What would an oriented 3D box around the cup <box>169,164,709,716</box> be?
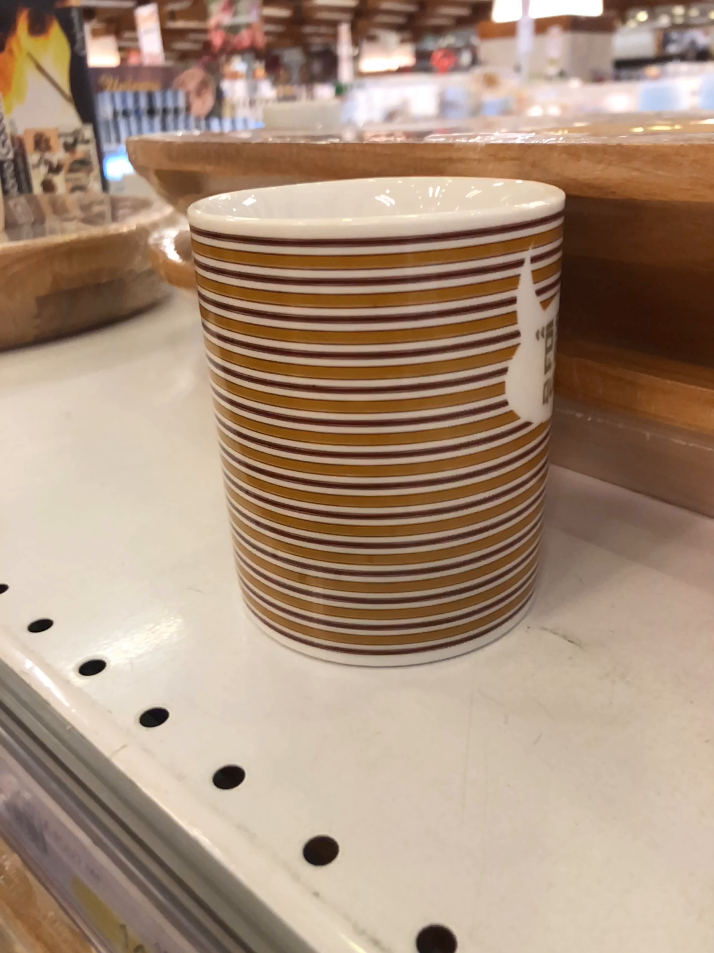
[{"bbox_3d":[0.006,-0.024,0.201,0.090,0.089,0.121,-7,25,-10],"label":"cup"}]
